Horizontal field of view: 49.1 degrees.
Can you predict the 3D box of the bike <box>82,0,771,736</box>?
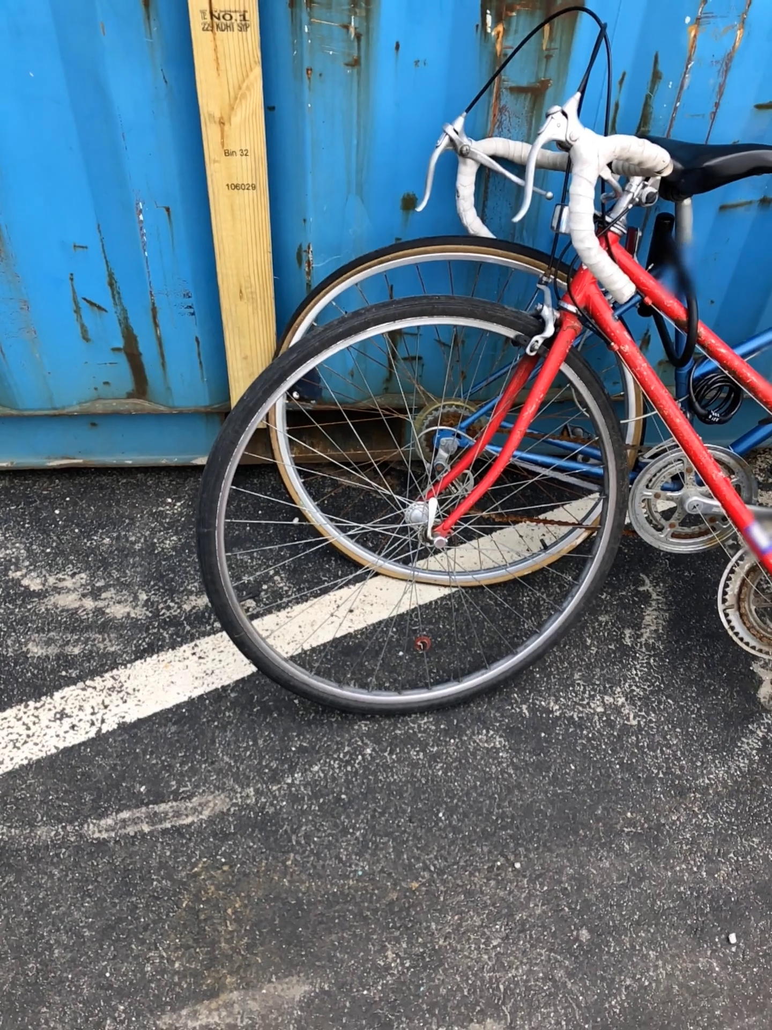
[{"bbox_3d":[0.581,-0.143,1.275,1.639,0.824,0.486,3,45,-3],"label":"bike"}]
